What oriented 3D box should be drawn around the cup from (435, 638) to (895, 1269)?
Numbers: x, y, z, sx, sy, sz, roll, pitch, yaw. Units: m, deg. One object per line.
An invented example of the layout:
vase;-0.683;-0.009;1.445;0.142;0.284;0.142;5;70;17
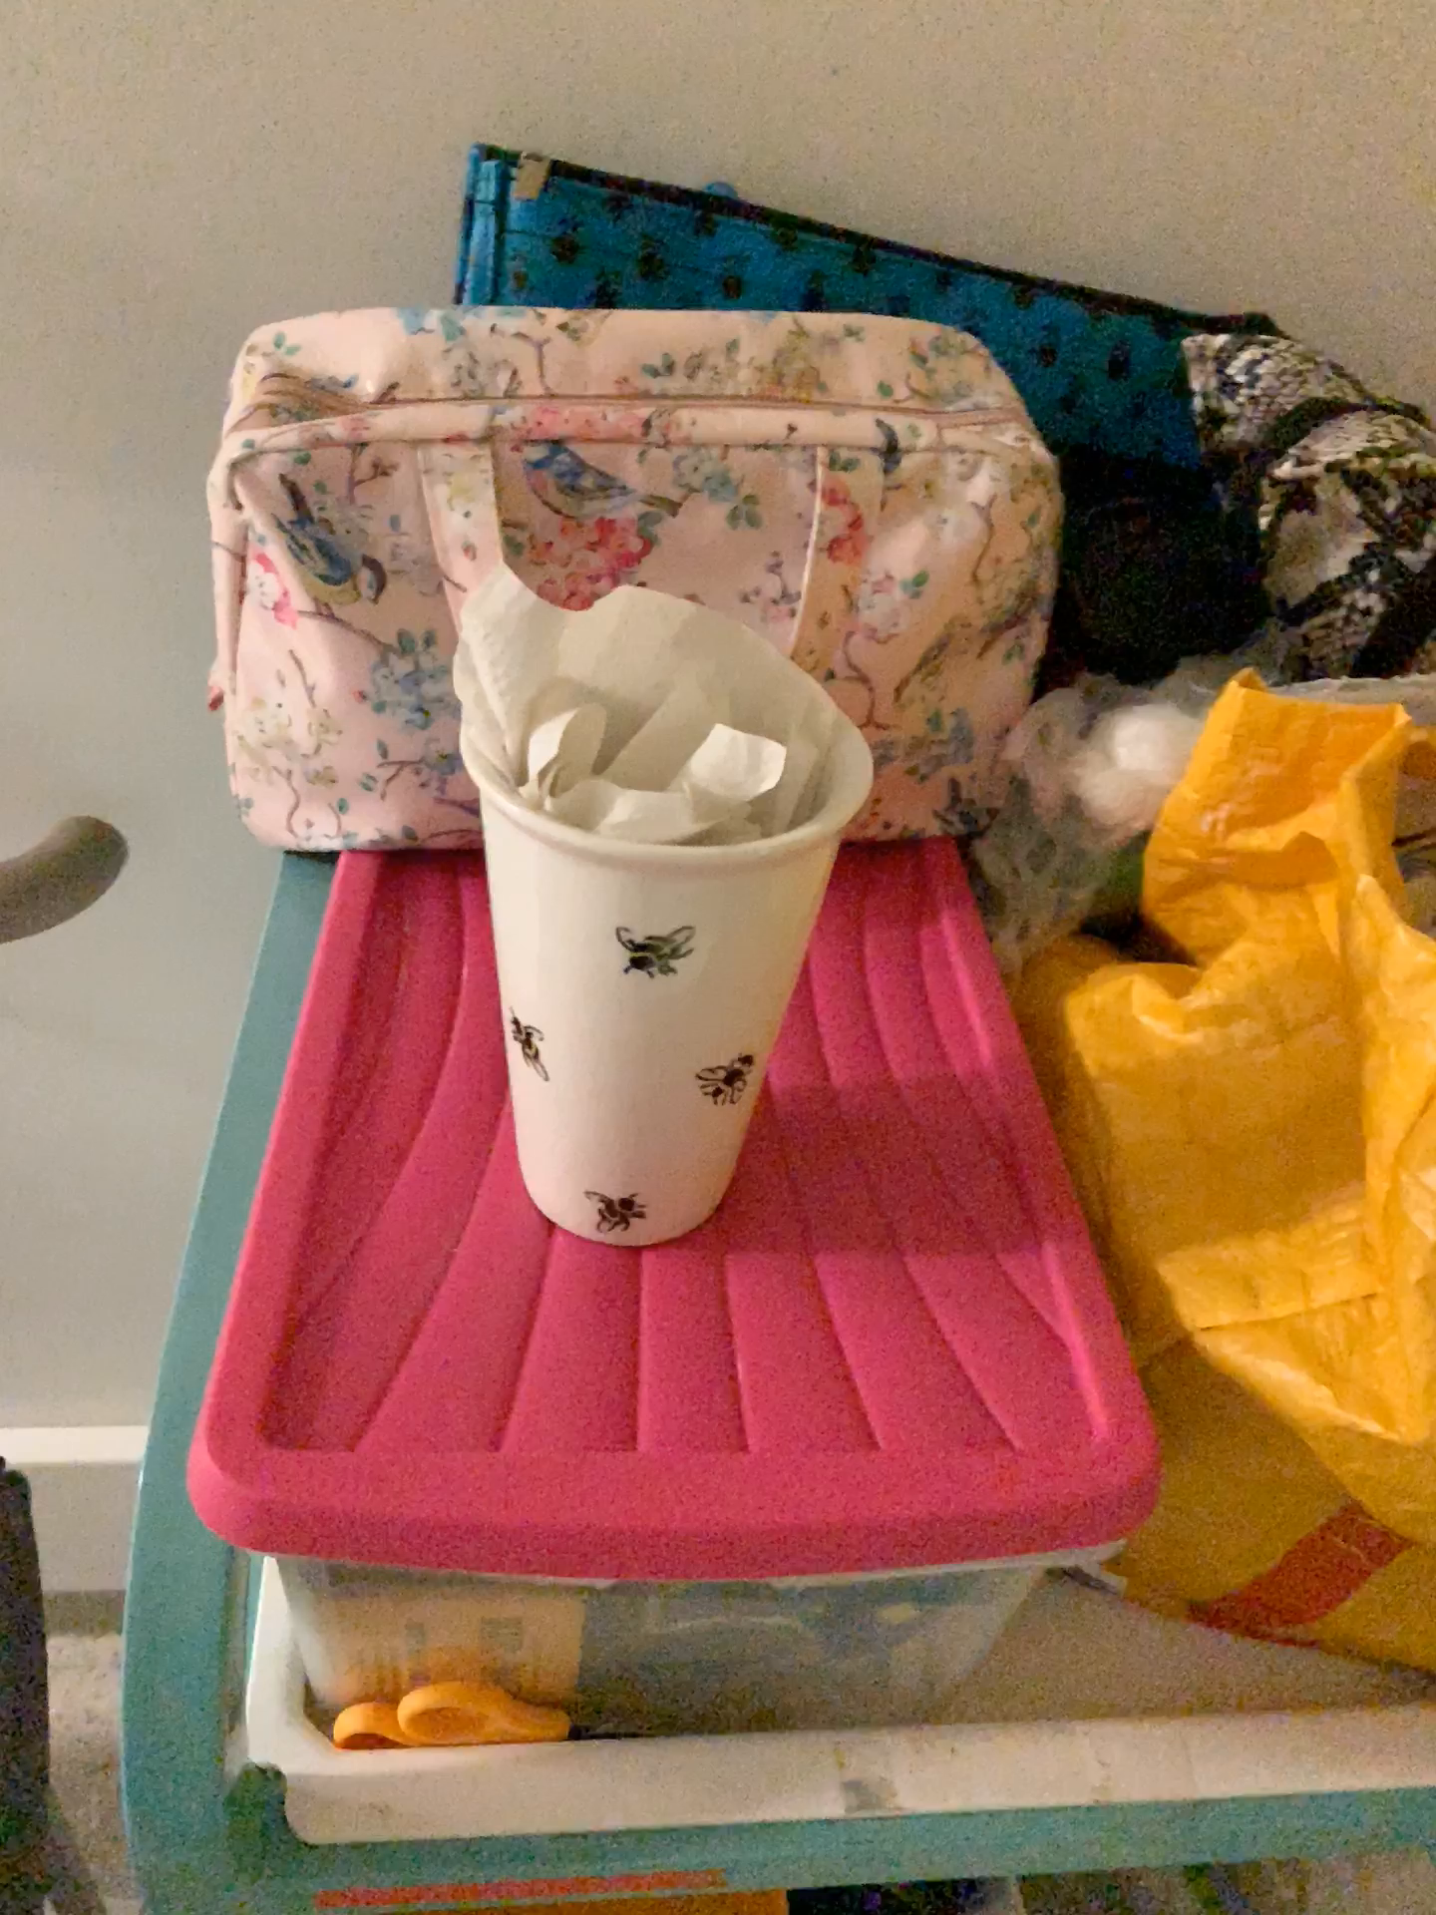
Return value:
cup;-0.022;-0.002;0.357;0.090;0.112;0.099;5;37;-4
